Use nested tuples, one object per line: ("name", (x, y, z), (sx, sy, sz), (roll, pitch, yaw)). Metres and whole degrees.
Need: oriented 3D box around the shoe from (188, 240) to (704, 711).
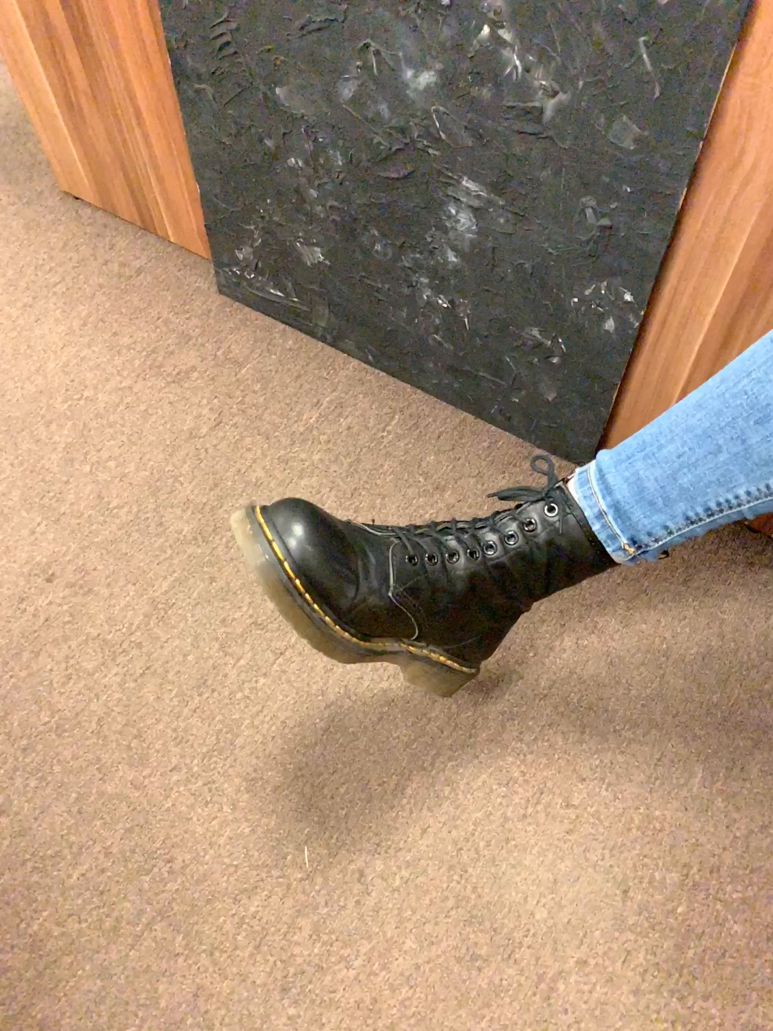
("shoe", (0.077, 0.016, 0.582), (0.230, 0.369, 0.120), (-34, 60, 13))
